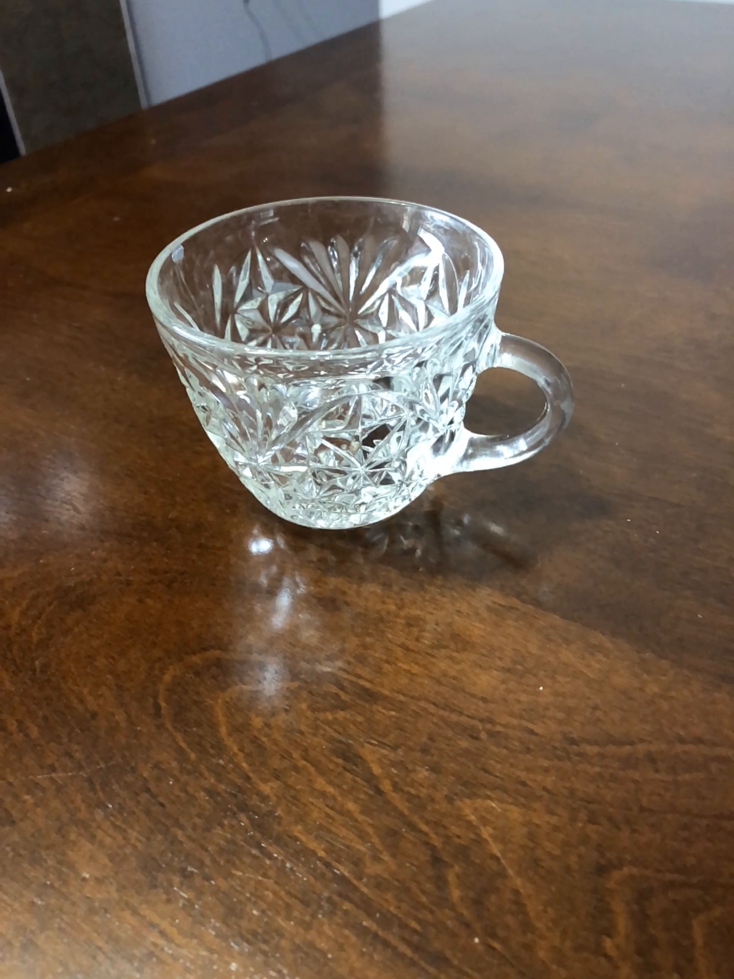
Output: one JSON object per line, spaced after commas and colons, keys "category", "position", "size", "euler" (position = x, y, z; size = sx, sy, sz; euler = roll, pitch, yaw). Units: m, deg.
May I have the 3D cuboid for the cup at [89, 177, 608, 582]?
{"category": "cup", "position": [0.001, -0.033, 0.206], "size": [0.100, 0.060, 0.070], "euler": [11, 41, 17]}
